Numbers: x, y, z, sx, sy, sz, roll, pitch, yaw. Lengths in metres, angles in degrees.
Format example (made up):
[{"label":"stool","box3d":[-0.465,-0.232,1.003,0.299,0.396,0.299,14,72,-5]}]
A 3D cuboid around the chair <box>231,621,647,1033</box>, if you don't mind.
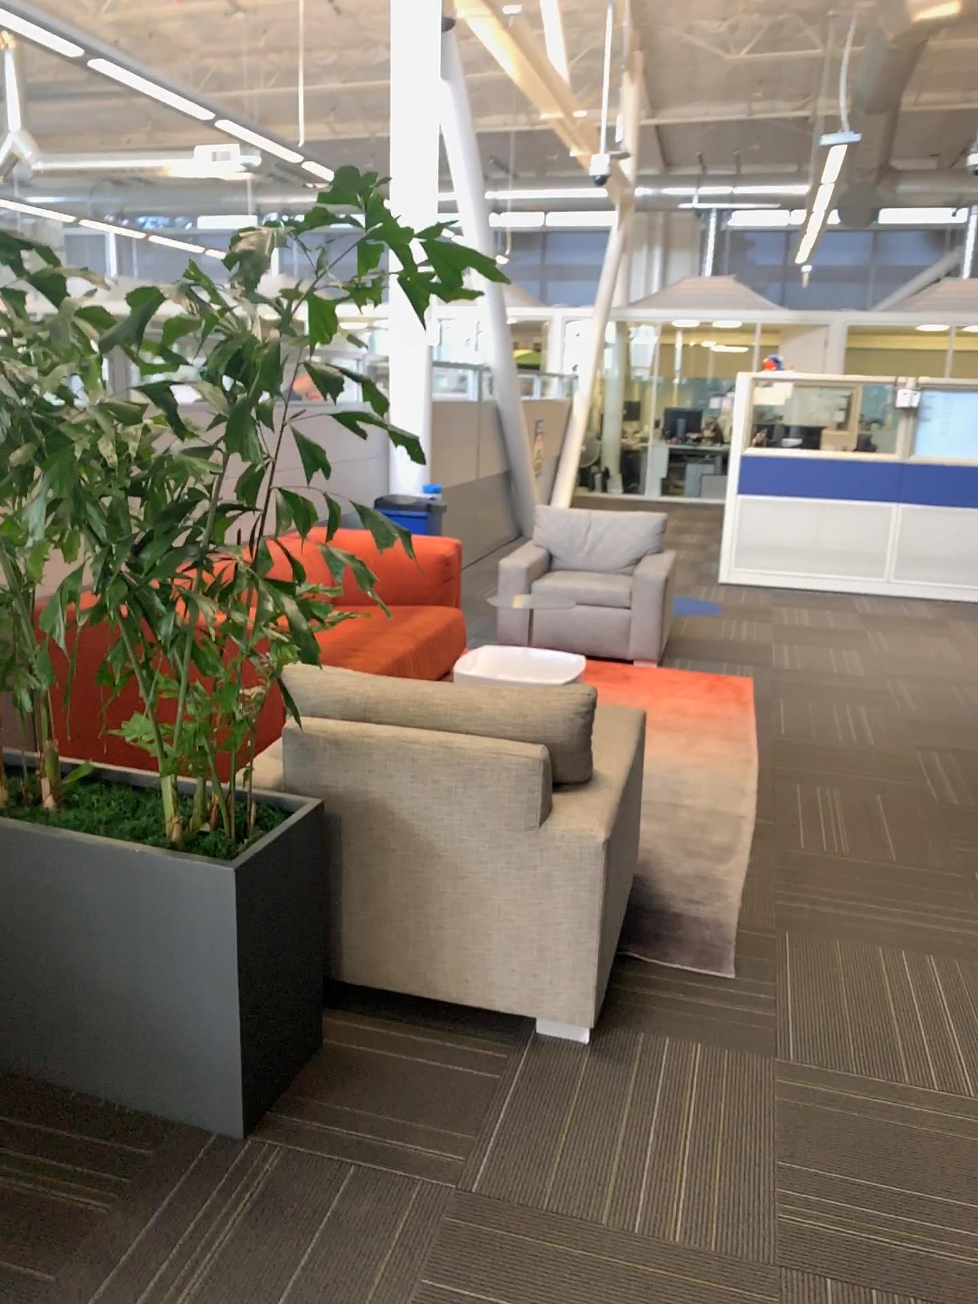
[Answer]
[{"label":"chair","box3d":[-0.080,0.399,2.778,0.921,0.727,0.873,5,15,12]}]
